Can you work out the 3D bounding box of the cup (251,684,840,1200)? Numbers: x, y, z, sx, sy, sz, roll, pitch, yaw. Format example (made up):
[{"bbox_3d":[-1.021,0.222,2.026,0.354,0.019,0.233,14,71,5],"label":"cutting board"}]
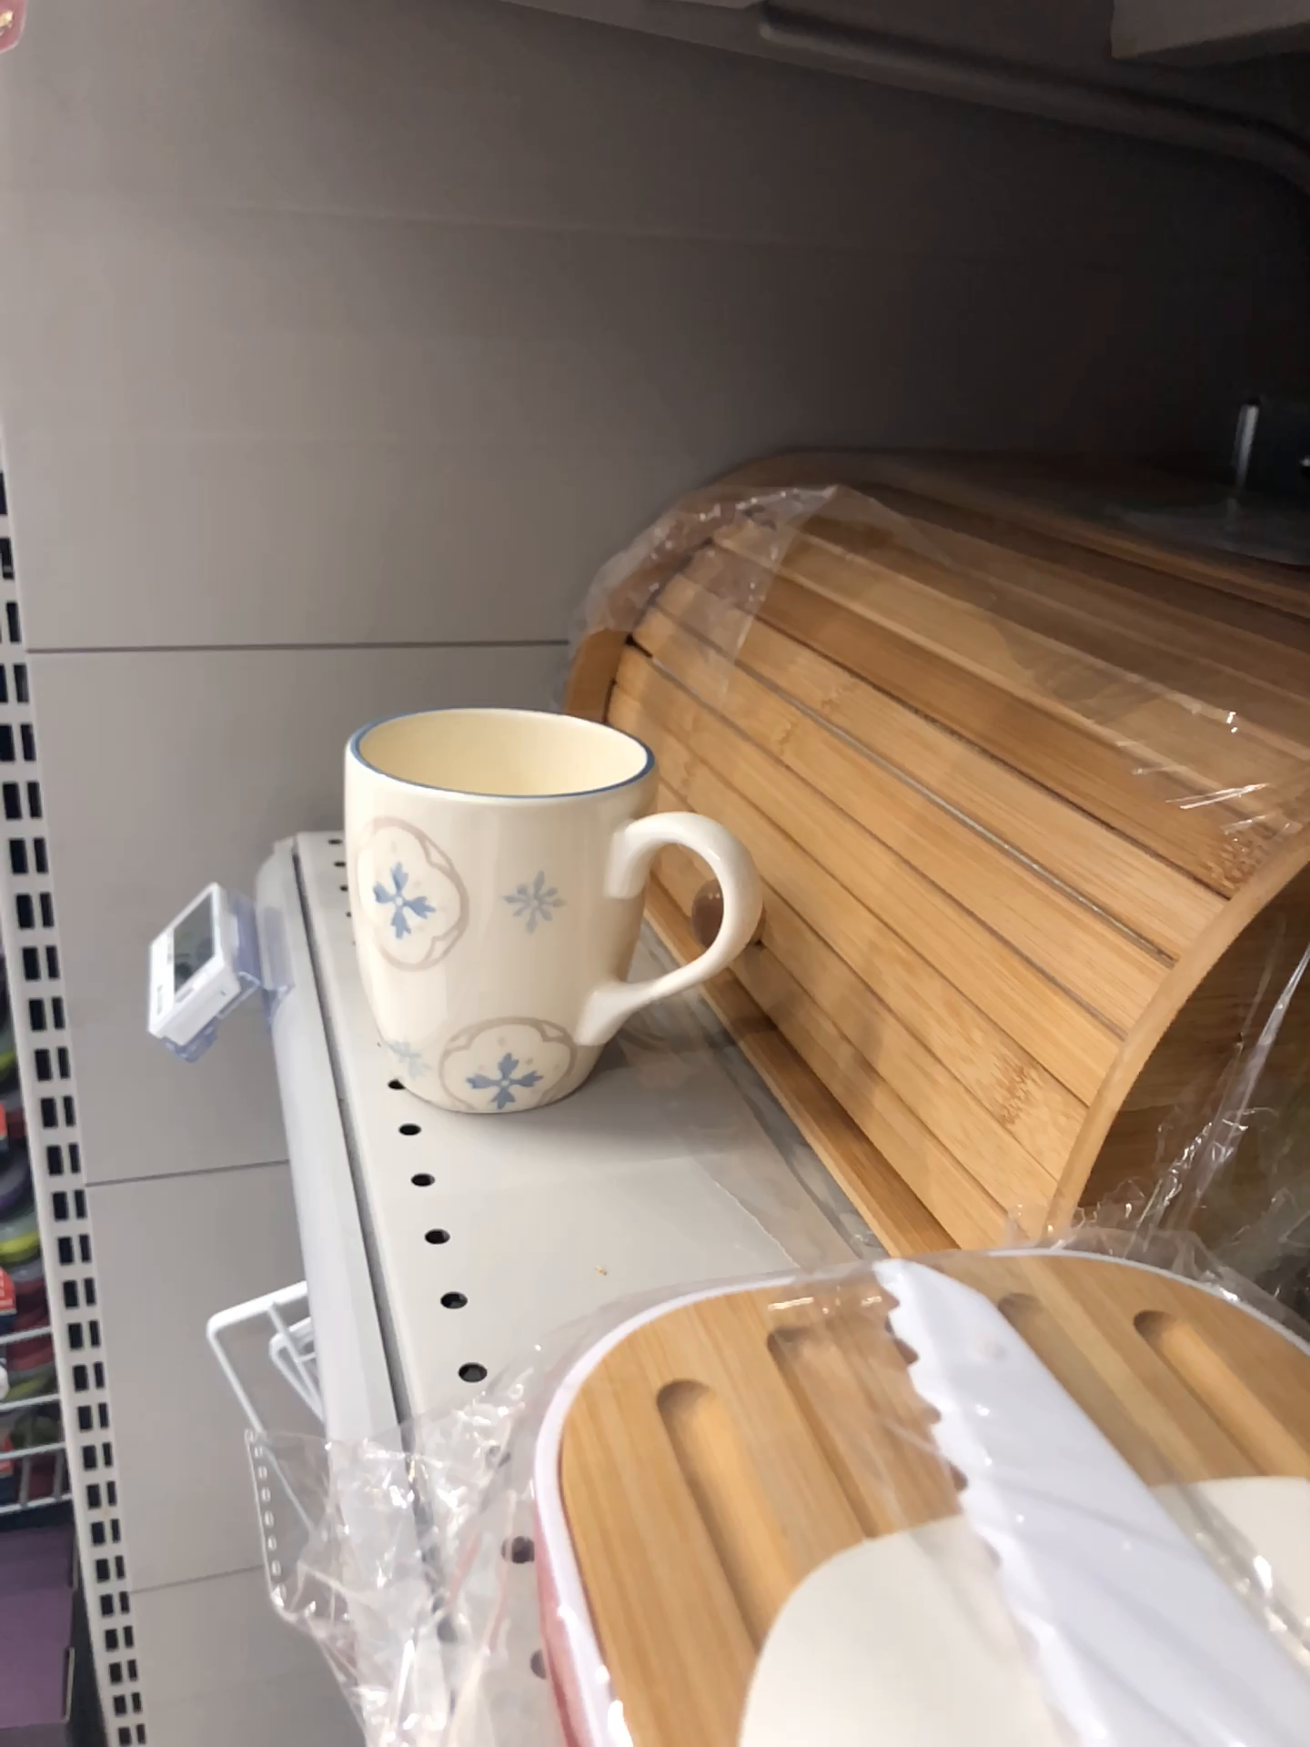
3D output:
[{"bbox_3d":[-0.031,0.011,0.405,0.133,0.089,0.084,16,25,28],"label":"cup"}]
